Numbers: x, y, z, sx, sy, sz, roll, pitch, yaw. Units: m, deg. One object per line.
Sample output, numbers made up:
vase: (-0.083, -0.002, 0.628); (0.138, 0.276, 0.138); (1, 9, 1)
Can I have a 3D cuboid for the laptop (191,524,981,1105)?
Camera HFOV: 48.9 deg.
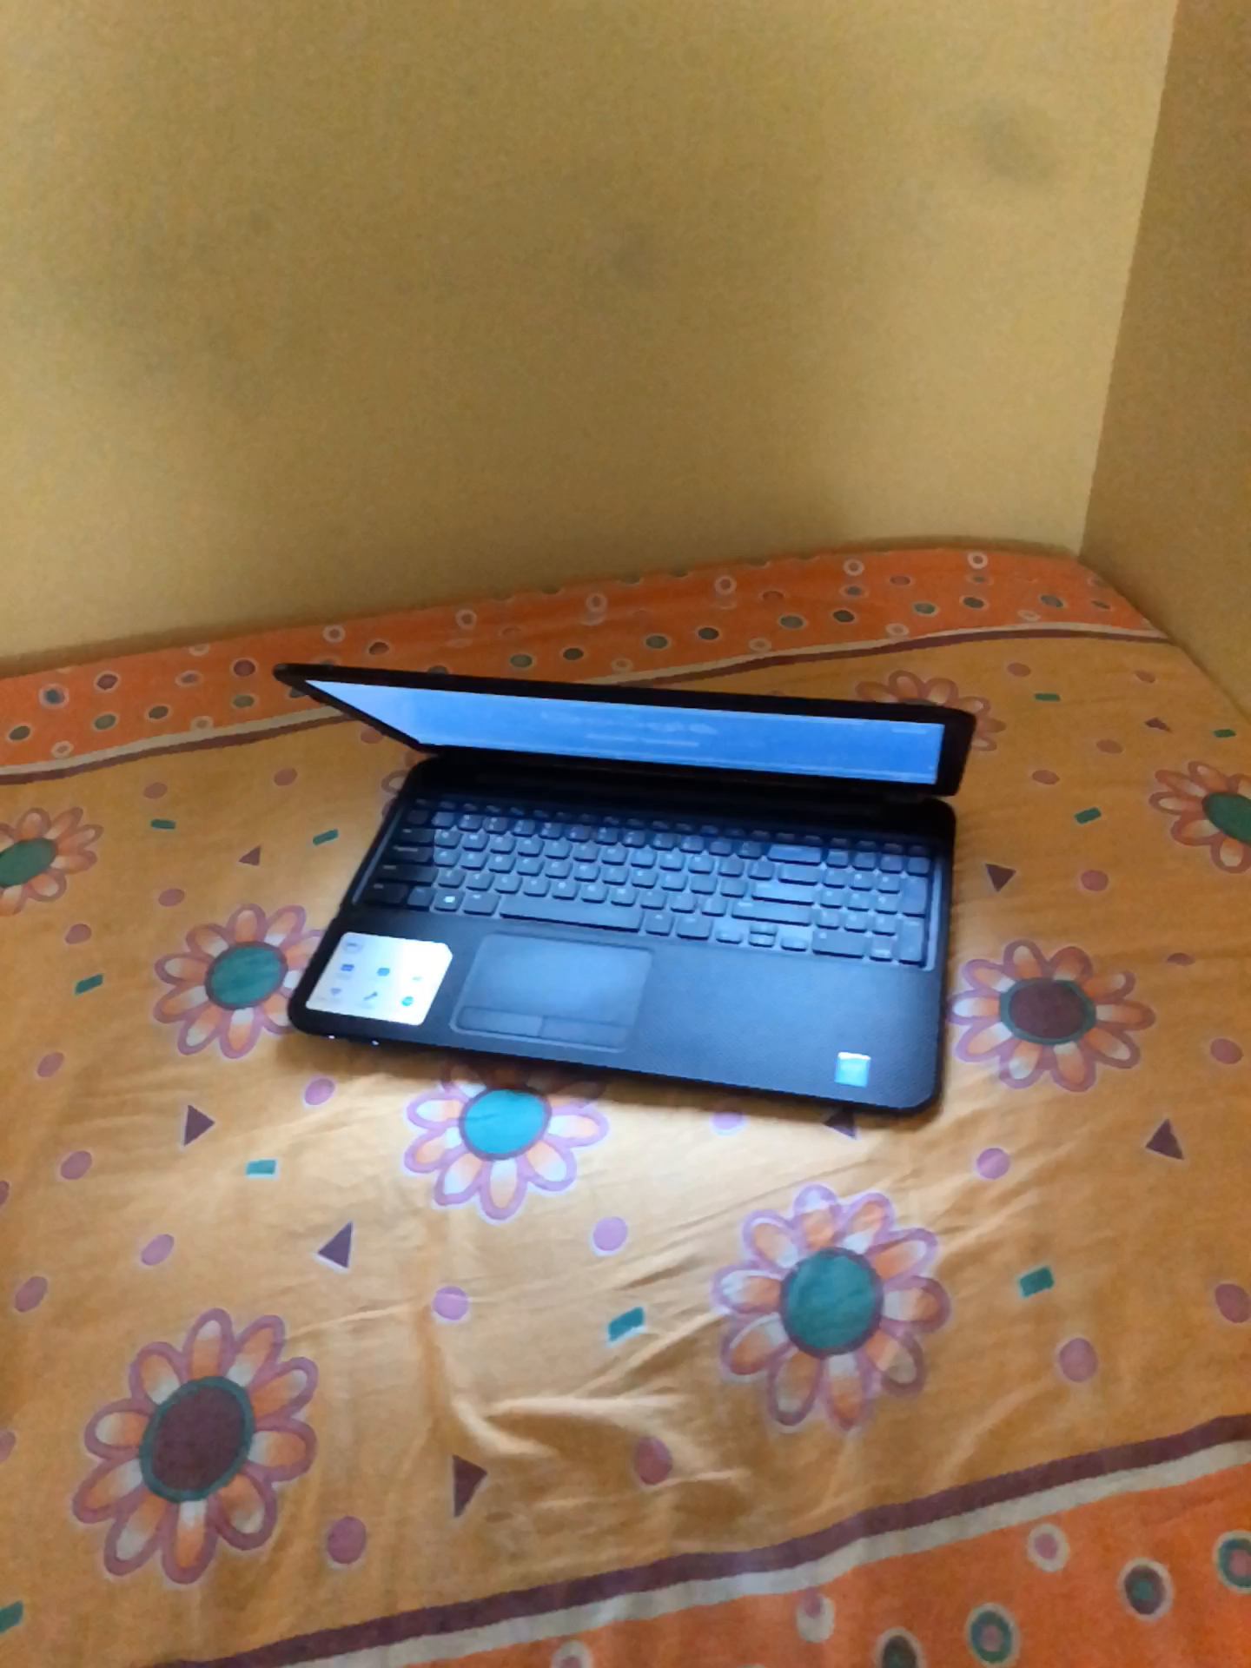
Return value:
laptop: (0.000, -0.023, 0.777); (0.366, 0.190, 0.239); (5, 44, 12)
